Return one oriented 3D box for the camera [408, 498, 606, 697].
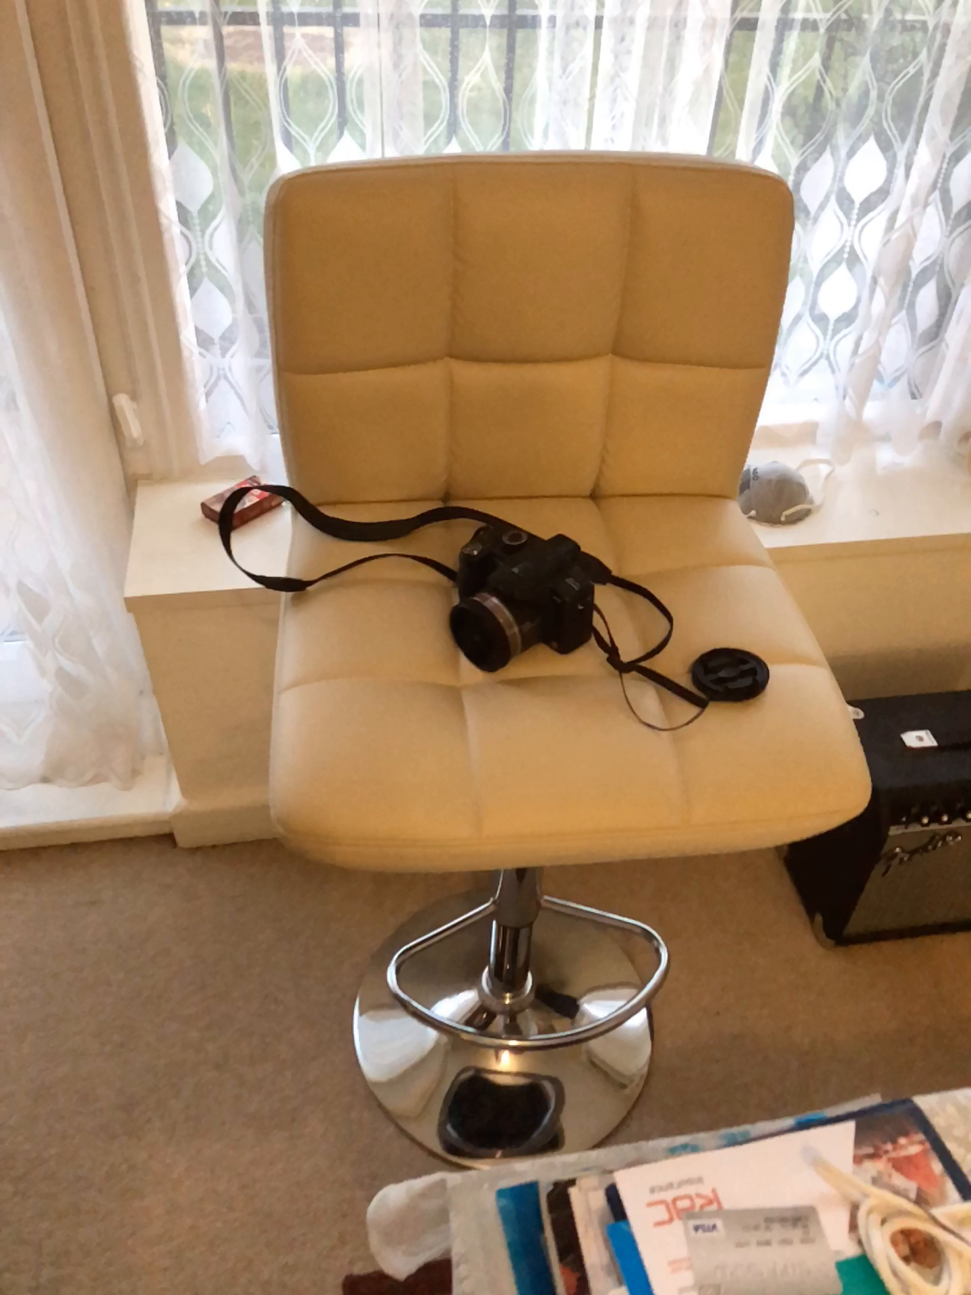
[{"bbox_3d":[0.015,-0.041,0.812,0.112,0.076,0.098,32,50,29],"label":"camera"}]
